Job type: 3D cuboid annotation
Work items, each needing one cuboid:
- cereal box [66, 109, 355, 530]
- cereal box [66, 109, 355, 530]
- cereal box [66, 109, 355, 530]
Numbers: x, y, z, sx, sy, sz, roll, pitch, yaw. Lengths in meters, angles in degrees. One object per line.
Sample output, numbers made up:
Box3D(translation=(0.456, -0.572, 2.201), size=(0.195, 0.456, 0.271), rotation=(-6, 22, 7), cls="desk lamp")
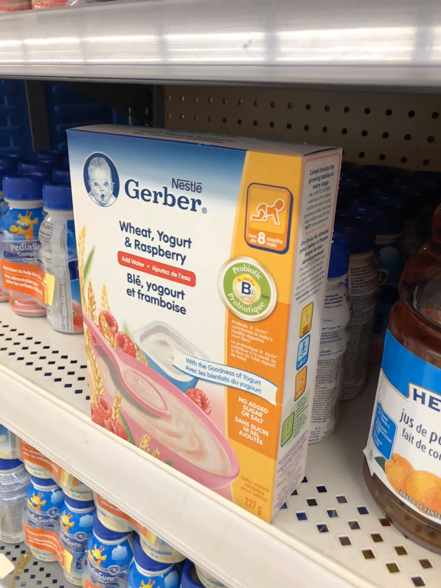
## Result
Box3D(translation=(-0.016, 0.006, 0.277), size=(0.140, 0.199, 0.050), rotation=(18, 26, 32), cls="cereal box")
Box3D(translation=(-0.016, 0.006, 0.277), size=(0.140, 0.199, 0.050), rotation=(18, 26, 32), cls="cereal box")
Box3D(translation=(-0.016, 0.006, 0.277), size=(0.140, 0.199, 0.050), rotation=(18, 26, 32), cls="cereal box")
